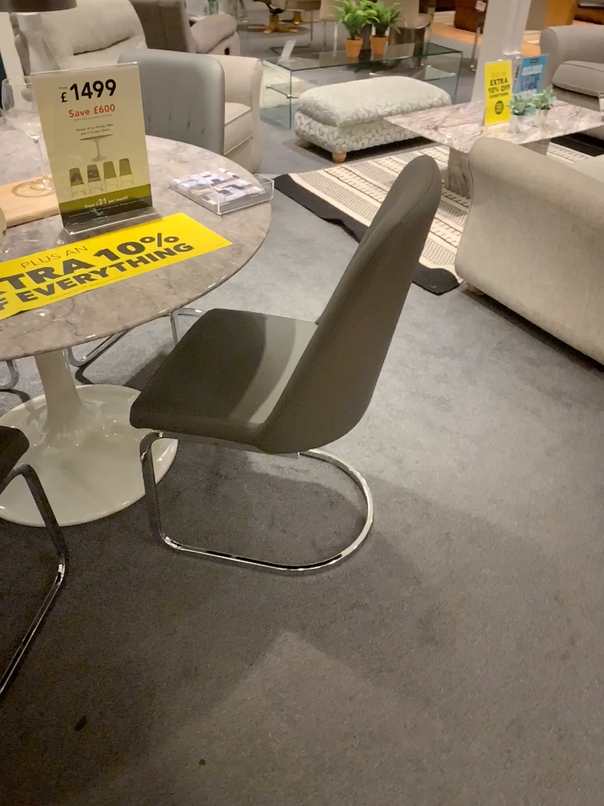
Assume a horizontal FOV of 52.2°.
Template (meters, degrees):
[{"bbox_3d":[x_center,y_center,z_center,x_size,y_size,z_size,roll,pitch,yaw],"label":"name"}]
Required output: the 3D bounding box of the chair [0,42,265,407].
[{"bbox_3d":[-0.472,-0.560,1.932,0.521,0.883,0.583,12,40,14],"label":"chair"}]

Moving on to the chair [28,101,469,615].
[{"bbox_3d":[-0.054,-0.100,1.374,0.629,0.883,0.555,12,40,13],"label":"chair"}]

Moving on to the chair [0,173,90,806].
[{"bbox_3d":[-0.805,0.184,1.015,0.520,0.883,0.584,6,39,6],"label":"chair"}]
